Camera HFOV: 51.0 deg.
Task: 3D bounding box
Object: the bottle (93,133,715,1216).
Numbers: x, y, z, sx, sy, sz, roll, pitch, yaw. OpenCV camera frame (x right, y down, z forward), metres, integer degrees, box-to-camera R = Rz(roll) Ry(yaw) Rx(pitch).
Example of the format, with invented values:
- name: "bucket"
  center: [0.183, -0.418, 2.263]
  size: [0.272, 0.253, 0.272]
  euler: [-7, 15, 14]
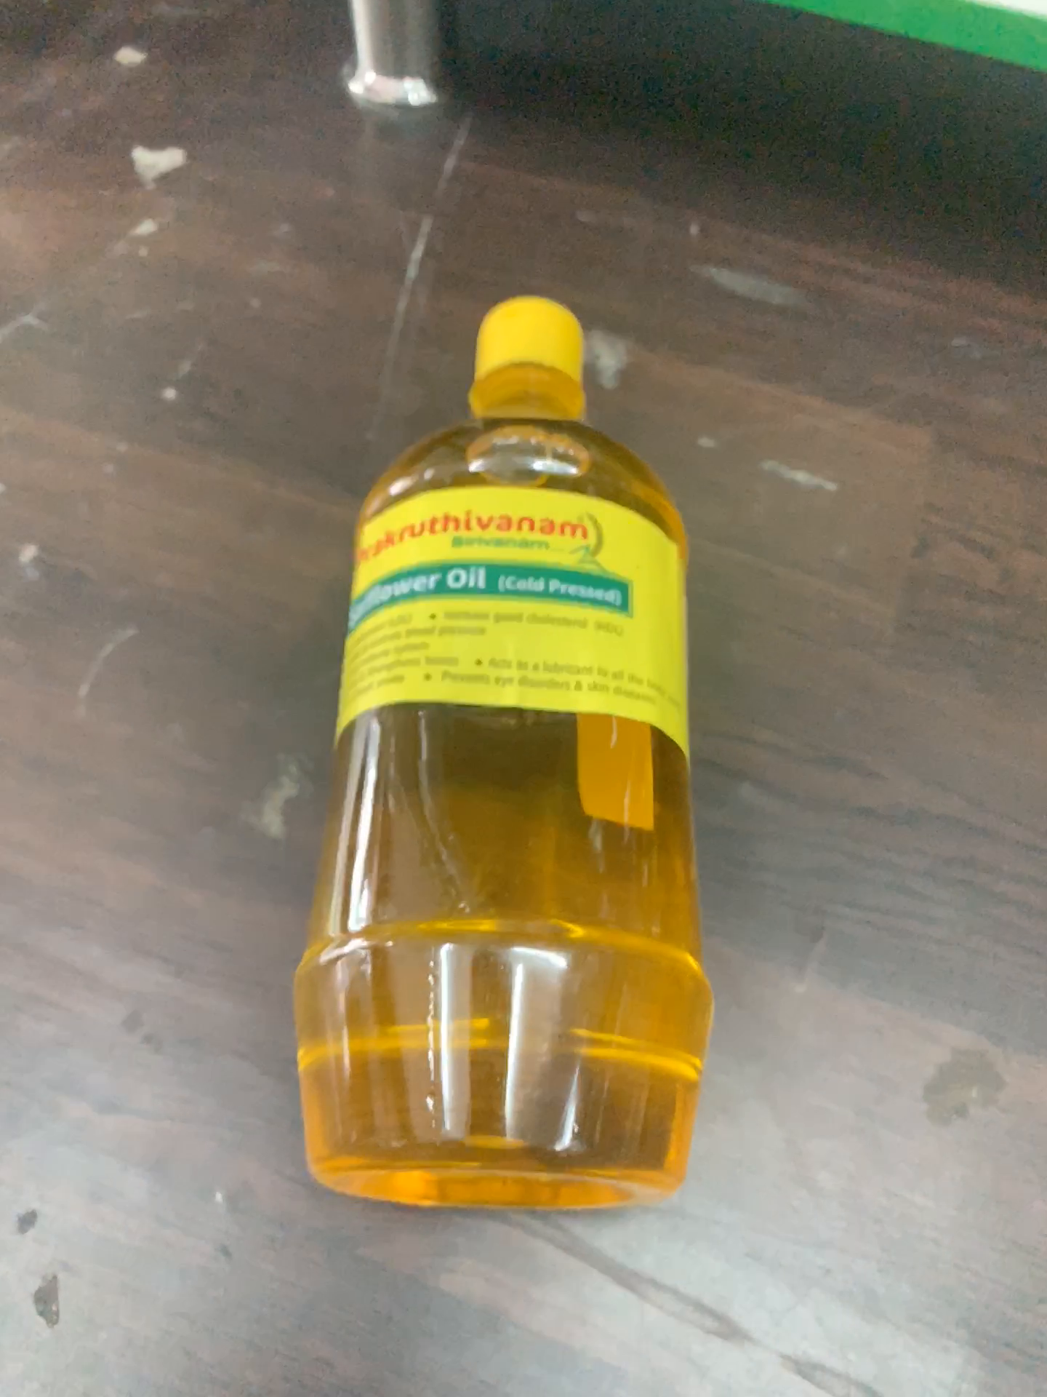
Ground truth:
- name: "bottle"
  center: [-0.011, -0.011, 0.253]
  size: [0.090, 0.080, 0.230]
  euler: [-5, 61, 15]
